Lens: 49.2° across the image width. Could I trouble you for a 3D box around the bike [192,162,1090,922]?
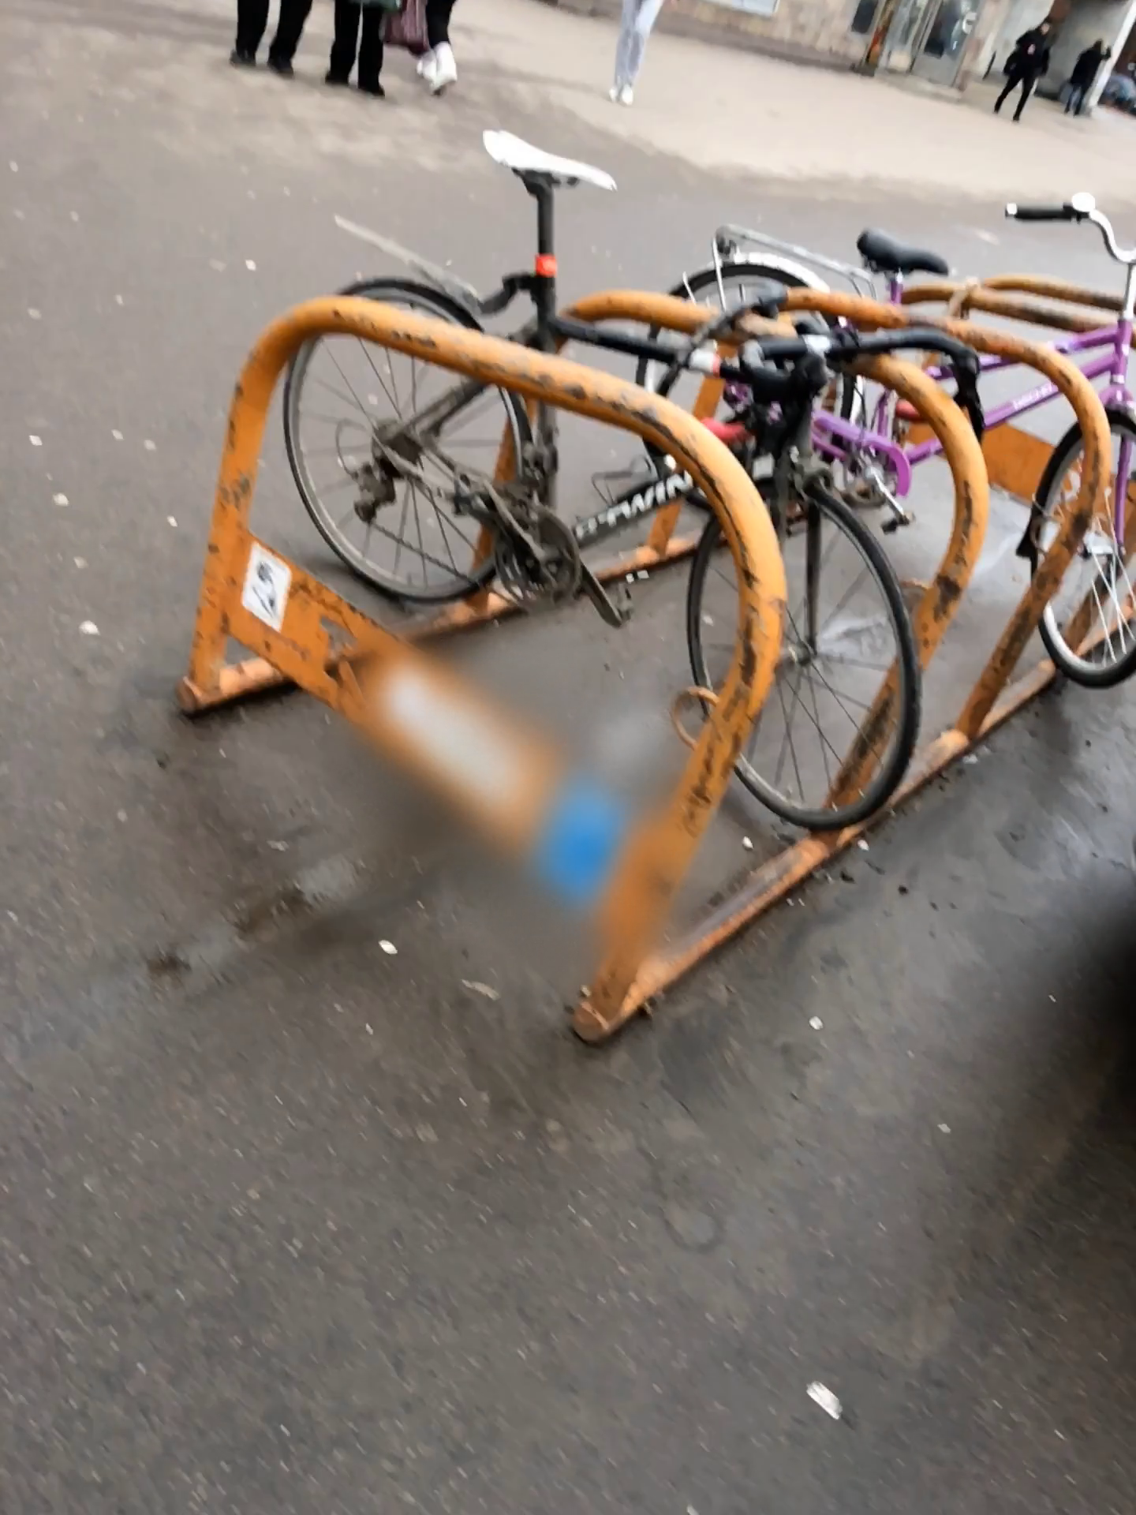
[{"bbox_3d":[0.002,-0.488,2.299,1.518,0.761,0.491,34,35,27],"label":"bike"}]
